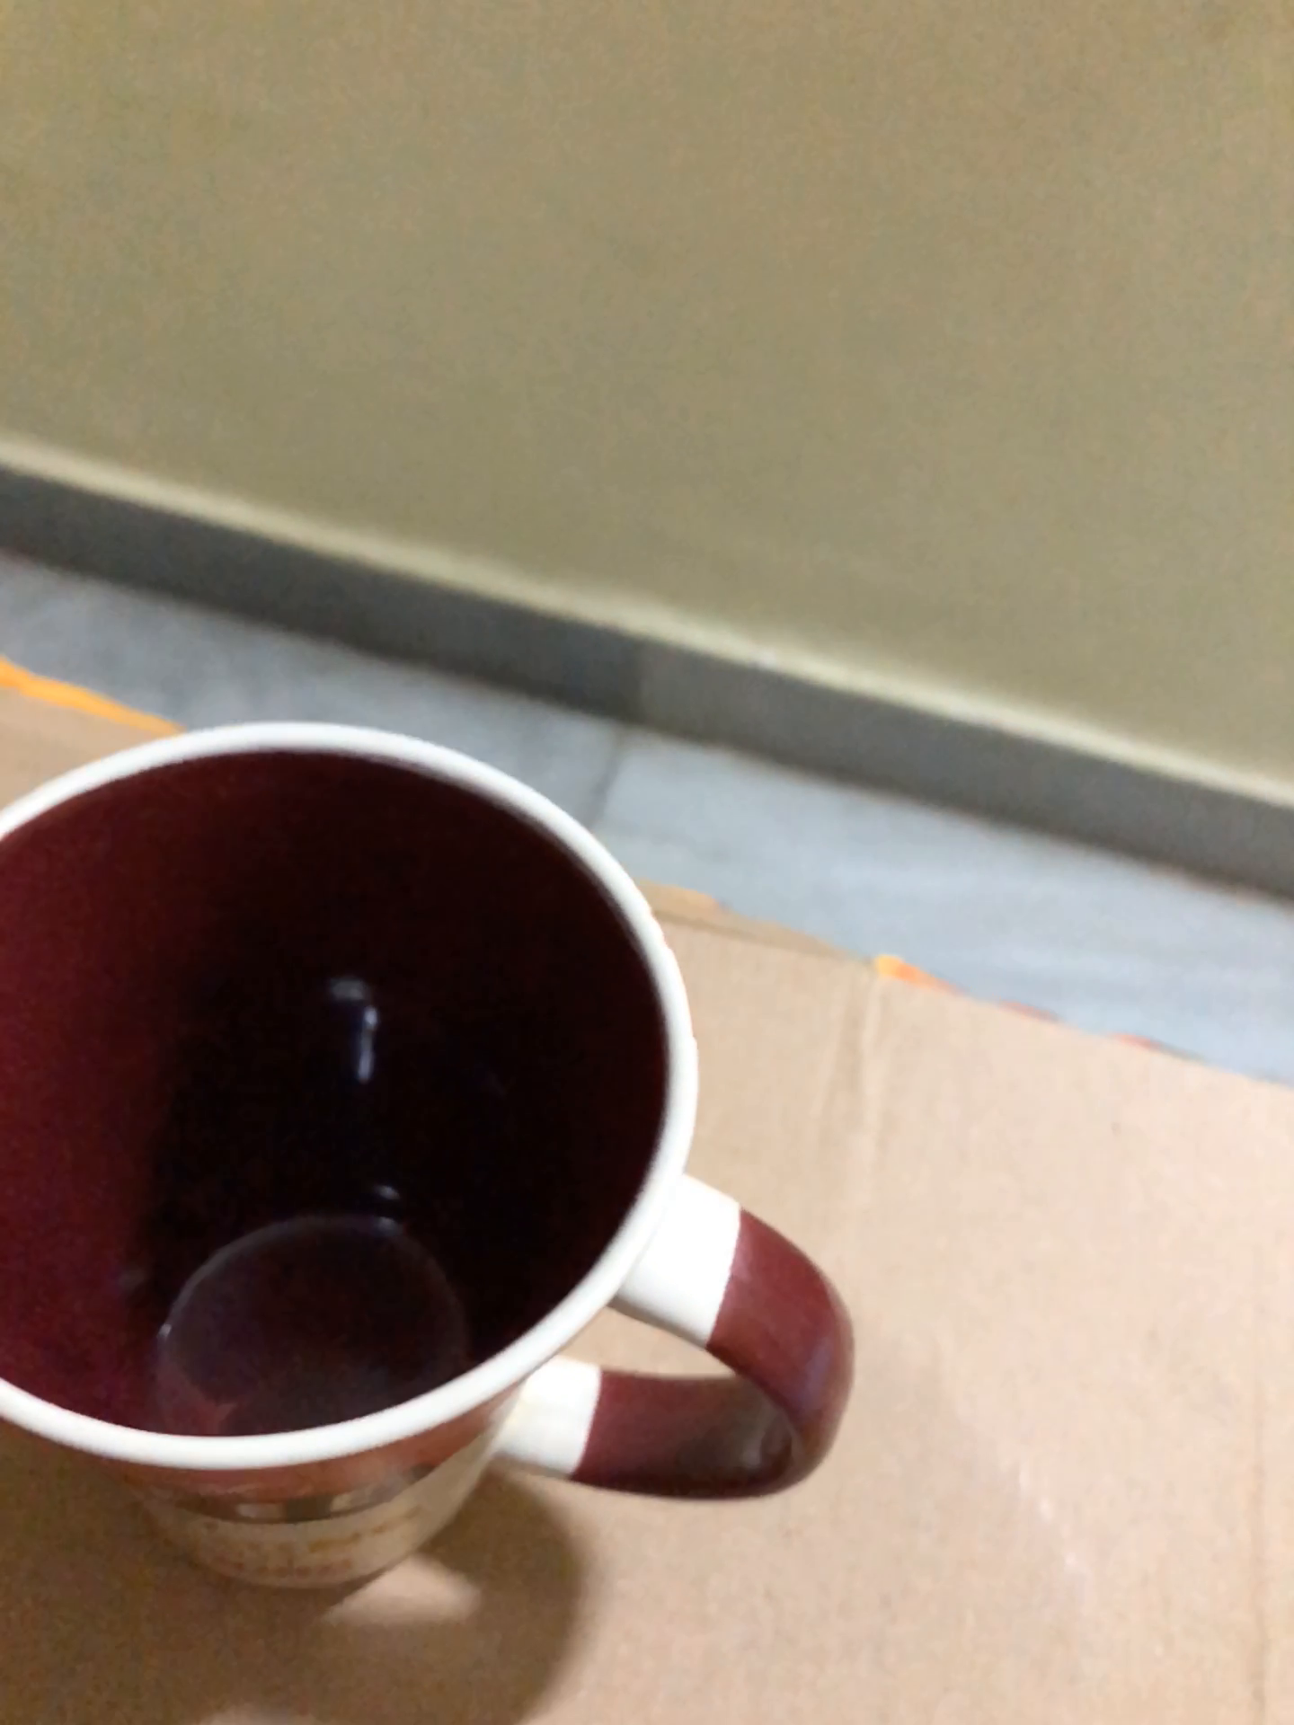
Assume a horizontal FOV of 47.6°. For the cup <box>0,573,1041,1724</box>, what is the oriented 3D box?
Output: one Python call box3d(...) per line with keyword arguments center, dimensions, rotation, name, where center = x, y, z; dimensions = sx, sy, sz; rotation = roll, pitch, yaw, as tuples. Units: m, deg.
box3d(center=(-0.030, 0.048, 0.209), dimensions=(0.130, 0.109, 0.101), rotation=(17, 48, 7), name="cup")
